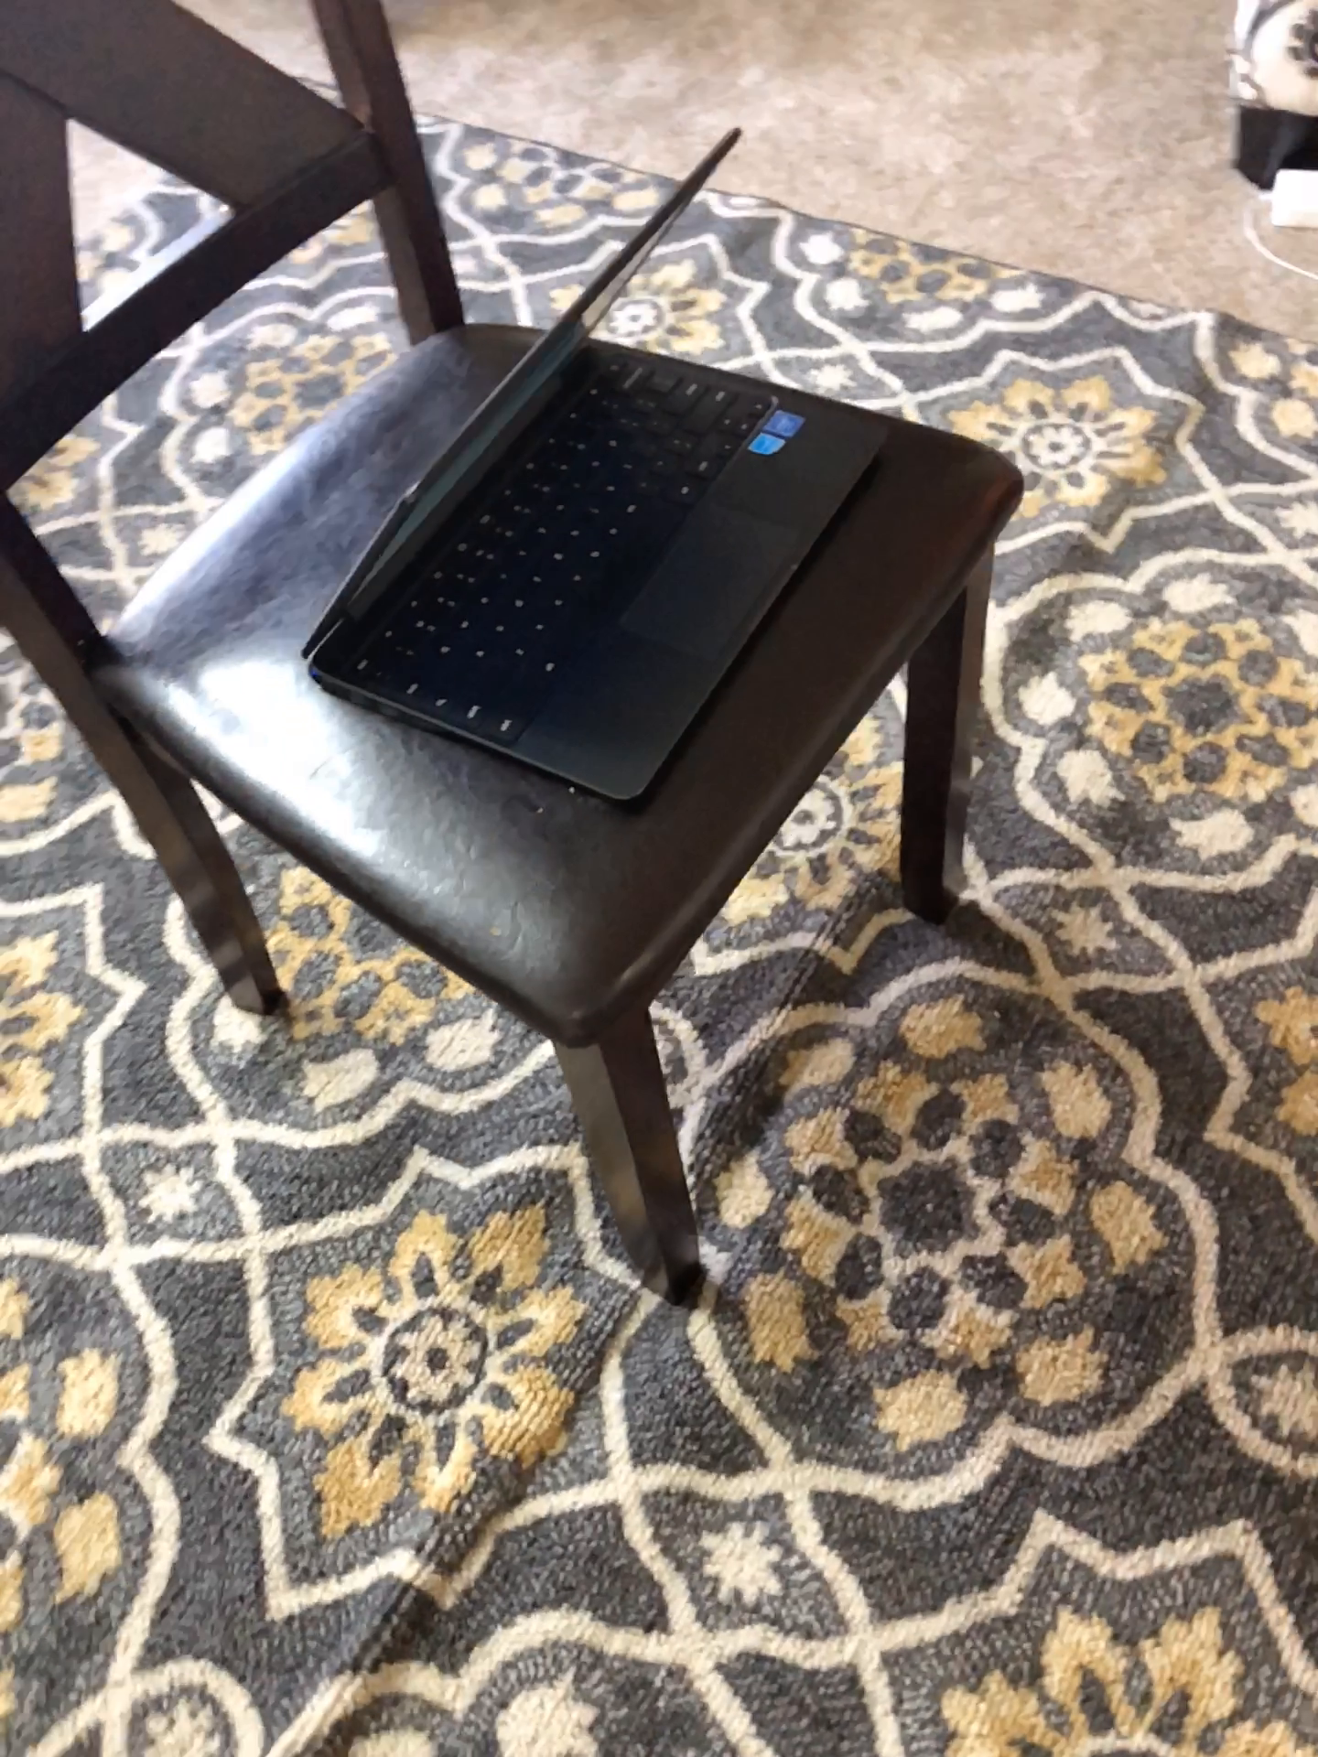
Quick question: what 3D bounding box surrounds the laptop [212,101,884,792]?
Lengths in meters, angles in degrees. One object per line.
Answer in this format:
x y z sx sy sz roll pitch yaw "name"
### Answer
-0.035 -0.217 0.706 0.191 0.155 0.263 22 60 20 "laptop"
